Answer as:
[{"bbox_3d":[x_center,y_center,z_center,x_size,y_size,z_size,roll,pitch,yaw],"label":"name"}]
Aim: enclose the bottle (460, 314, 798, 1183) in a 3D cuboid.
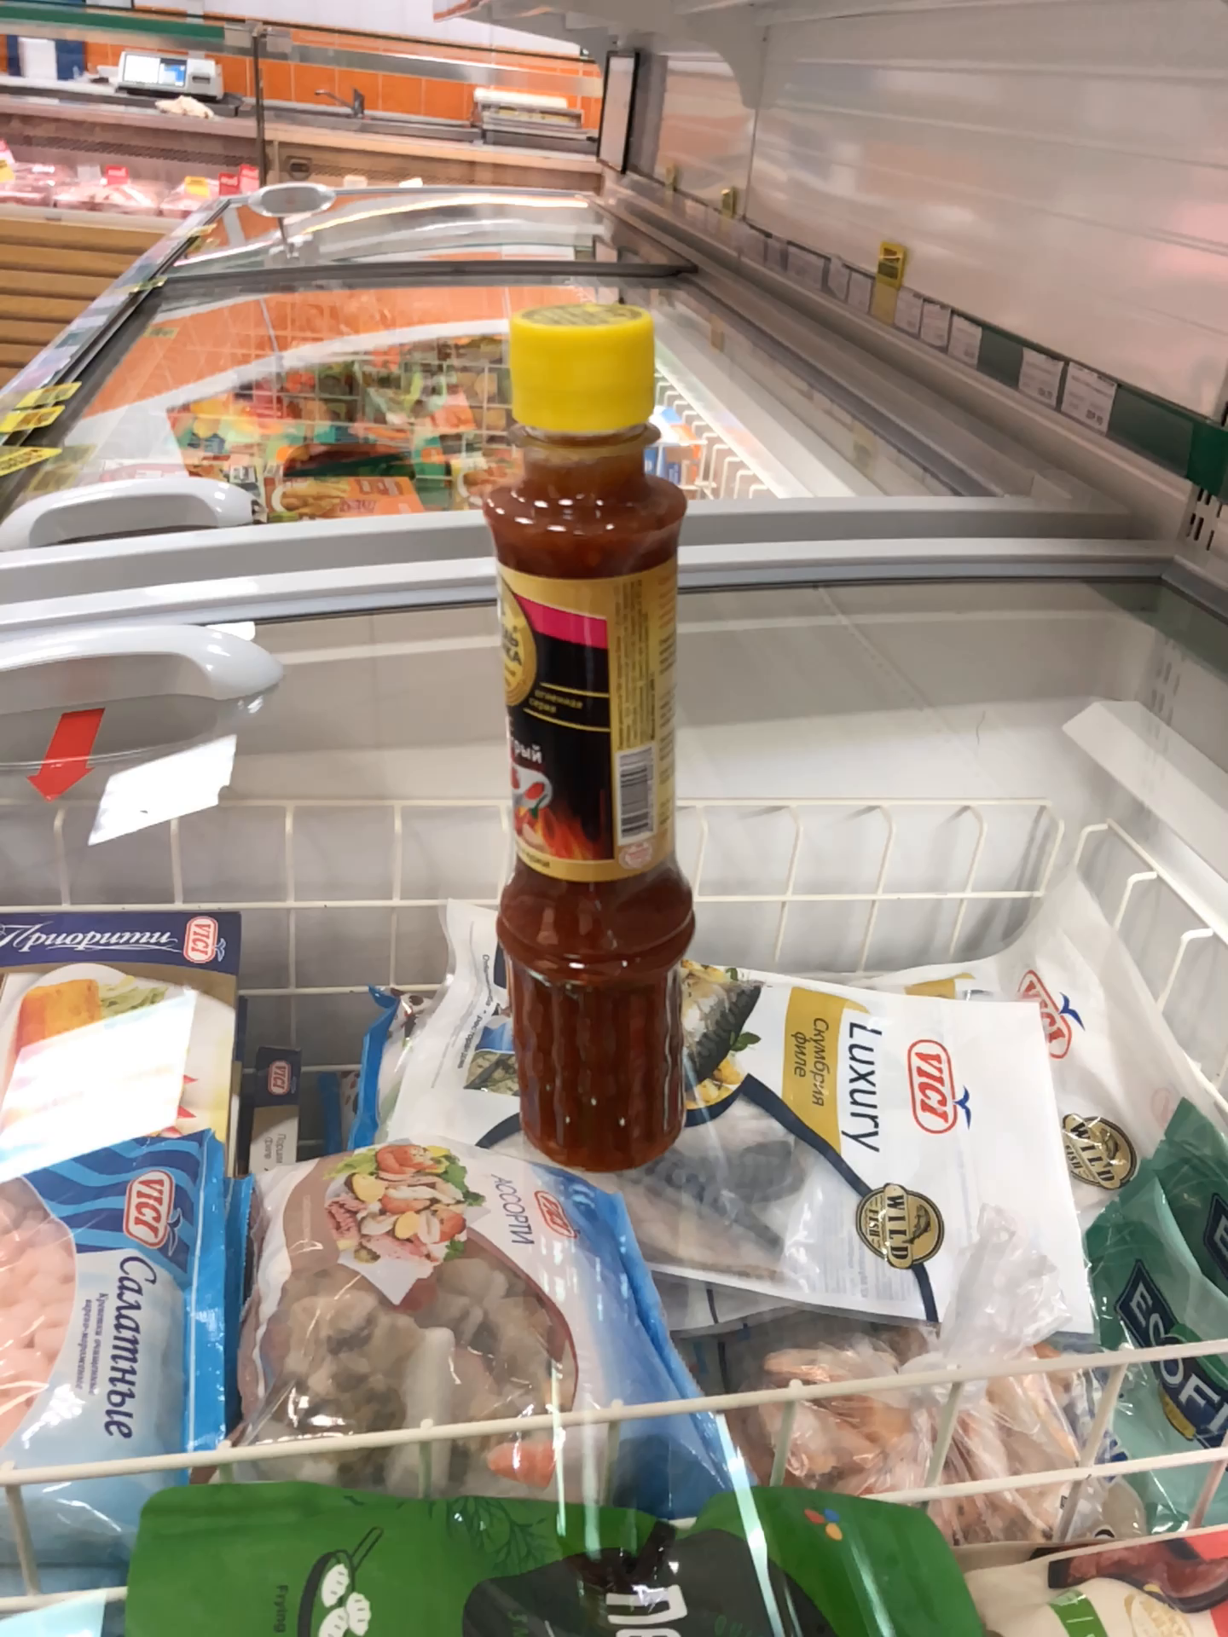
[{"bbox_3d":[-0.002,-0.012,0.324,0.060,0.199,0.060,1,28,-1],"label":"bottle"}]
